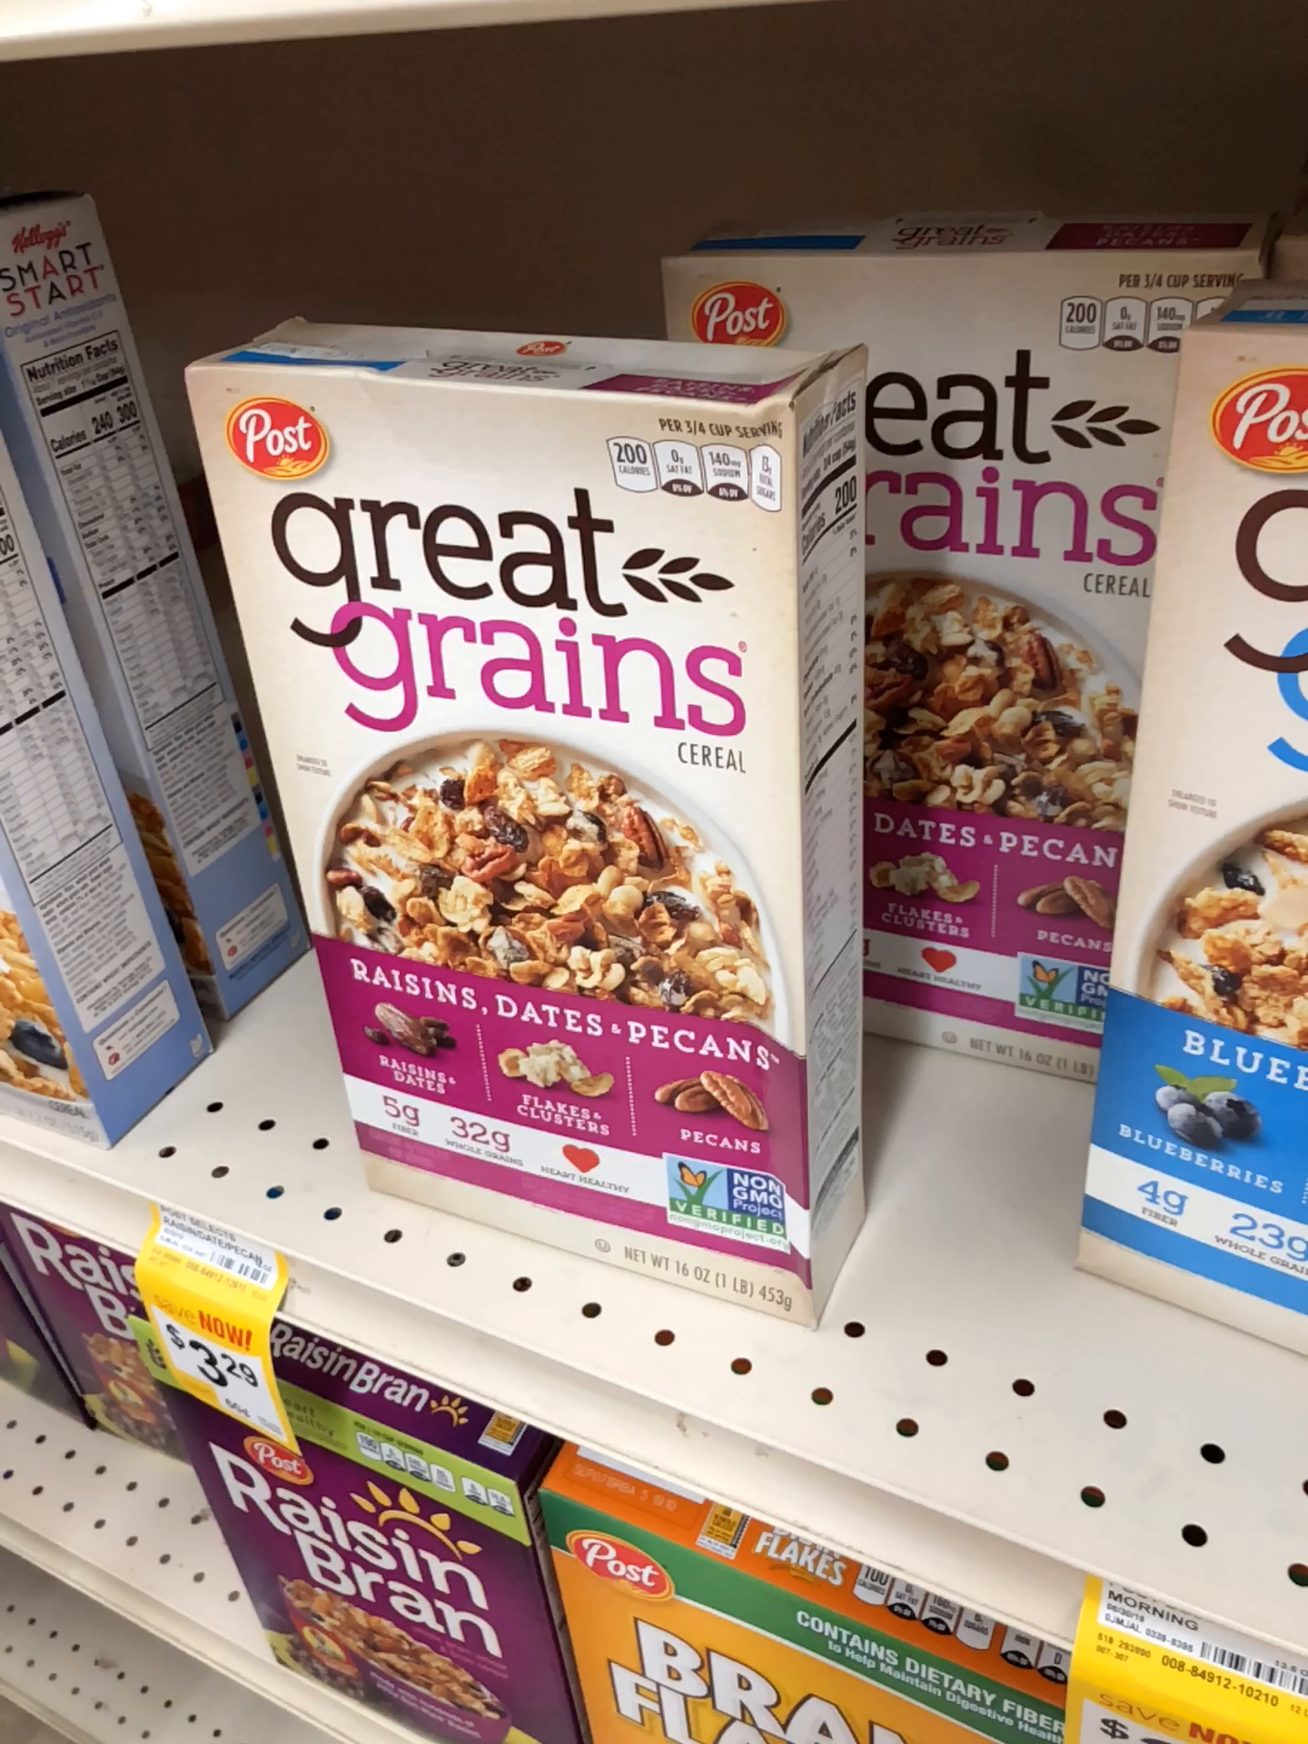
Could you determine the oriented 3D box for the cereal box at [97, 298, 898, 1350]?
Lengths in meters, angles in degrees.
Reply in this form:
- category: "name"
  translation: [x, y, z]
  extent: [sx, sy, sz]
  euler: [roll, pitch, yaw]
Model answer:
- category: "cereal box"
  translation: [-0.026, -0.004, 0.386]
  extent: [0.170, 0.269, 0.050]
  euler: [11, 38, 23]
